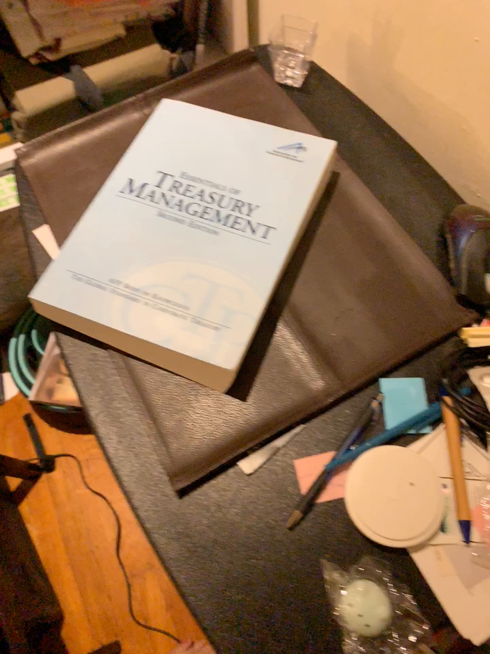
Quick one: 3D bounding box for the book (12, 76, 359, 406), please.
[{"bbox_3d":[-0.044,-0.105,0.510,0.220,0.060,0.300,21,67,13],"label":"book"}]
